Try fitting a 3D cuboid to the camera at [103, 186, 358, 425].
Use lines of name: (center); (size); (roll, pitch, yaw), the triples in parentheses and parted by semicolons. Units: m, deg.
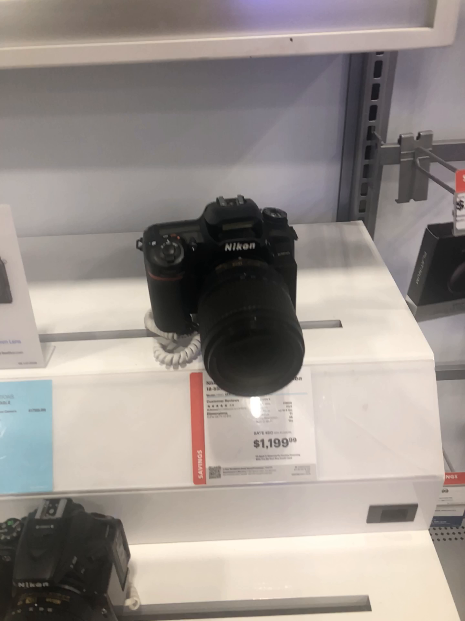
camera: (-0.007, -0.014, 0.415); (0.160, 0.110, 0.161); (-5, 34, -4)
